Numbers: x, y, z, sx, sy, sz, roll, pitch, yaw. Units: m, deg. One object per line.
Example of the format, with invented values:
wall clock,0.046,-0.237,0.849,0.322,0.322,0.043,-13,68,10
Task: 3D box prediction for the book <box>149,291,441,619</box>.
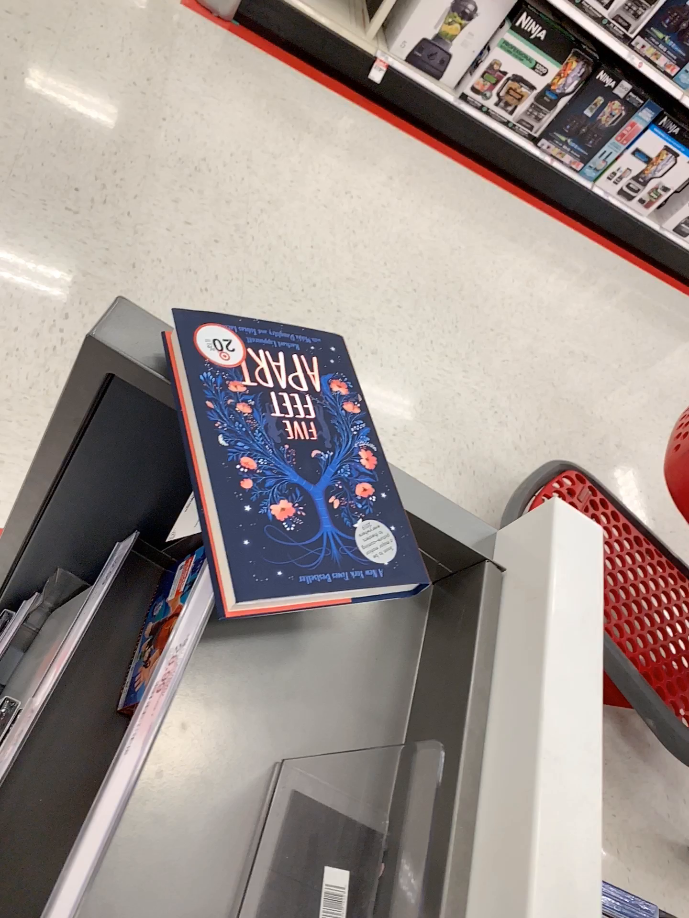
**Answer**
book,-0.036,-0.009,0.474,0.151,0.028,0.220,3,56,-36
